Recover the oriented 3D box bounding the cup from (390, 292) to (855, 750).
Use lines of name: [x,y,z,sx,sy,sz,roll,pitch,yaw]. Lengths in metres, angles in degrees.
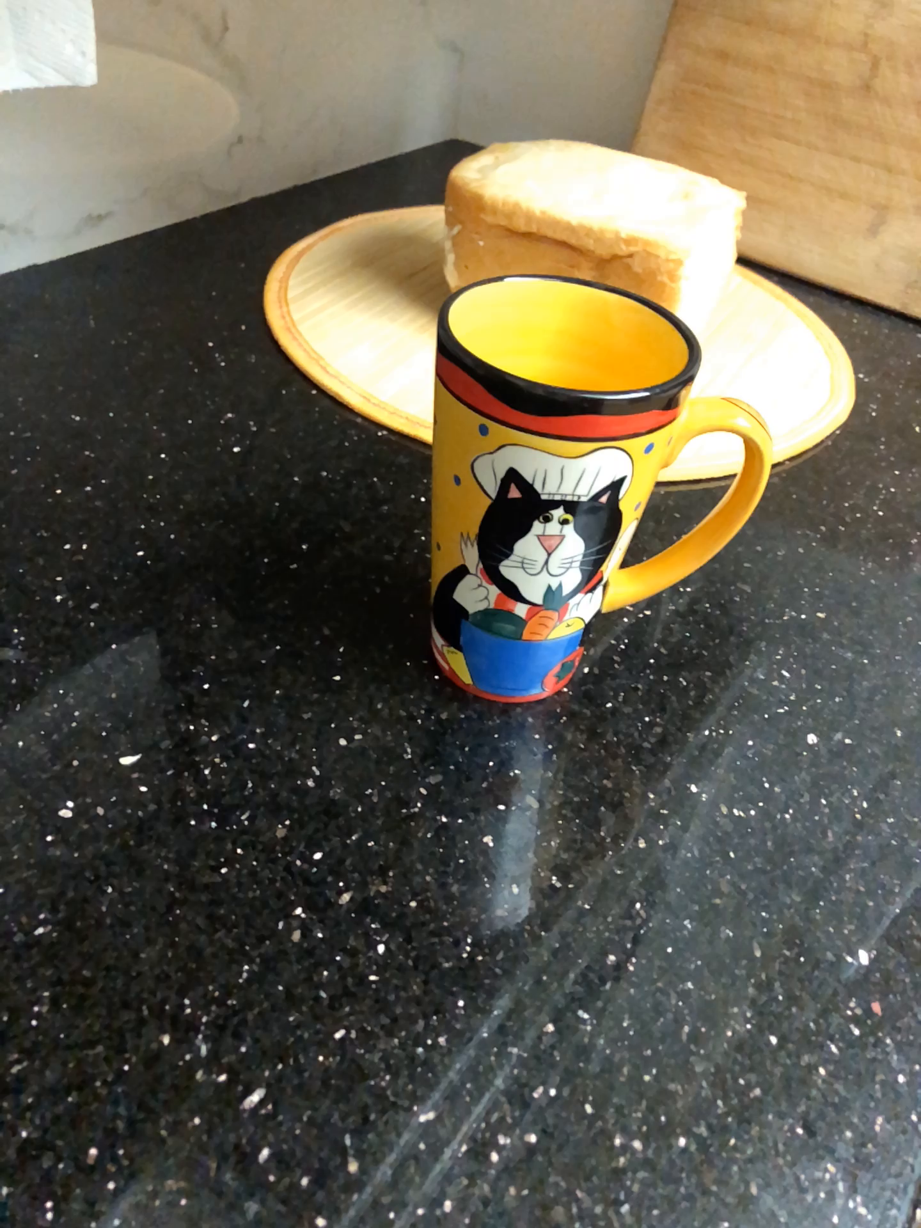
cup: [0.045,-0.032,0.380,0.130,0.139,0.090,0,40,-9]
